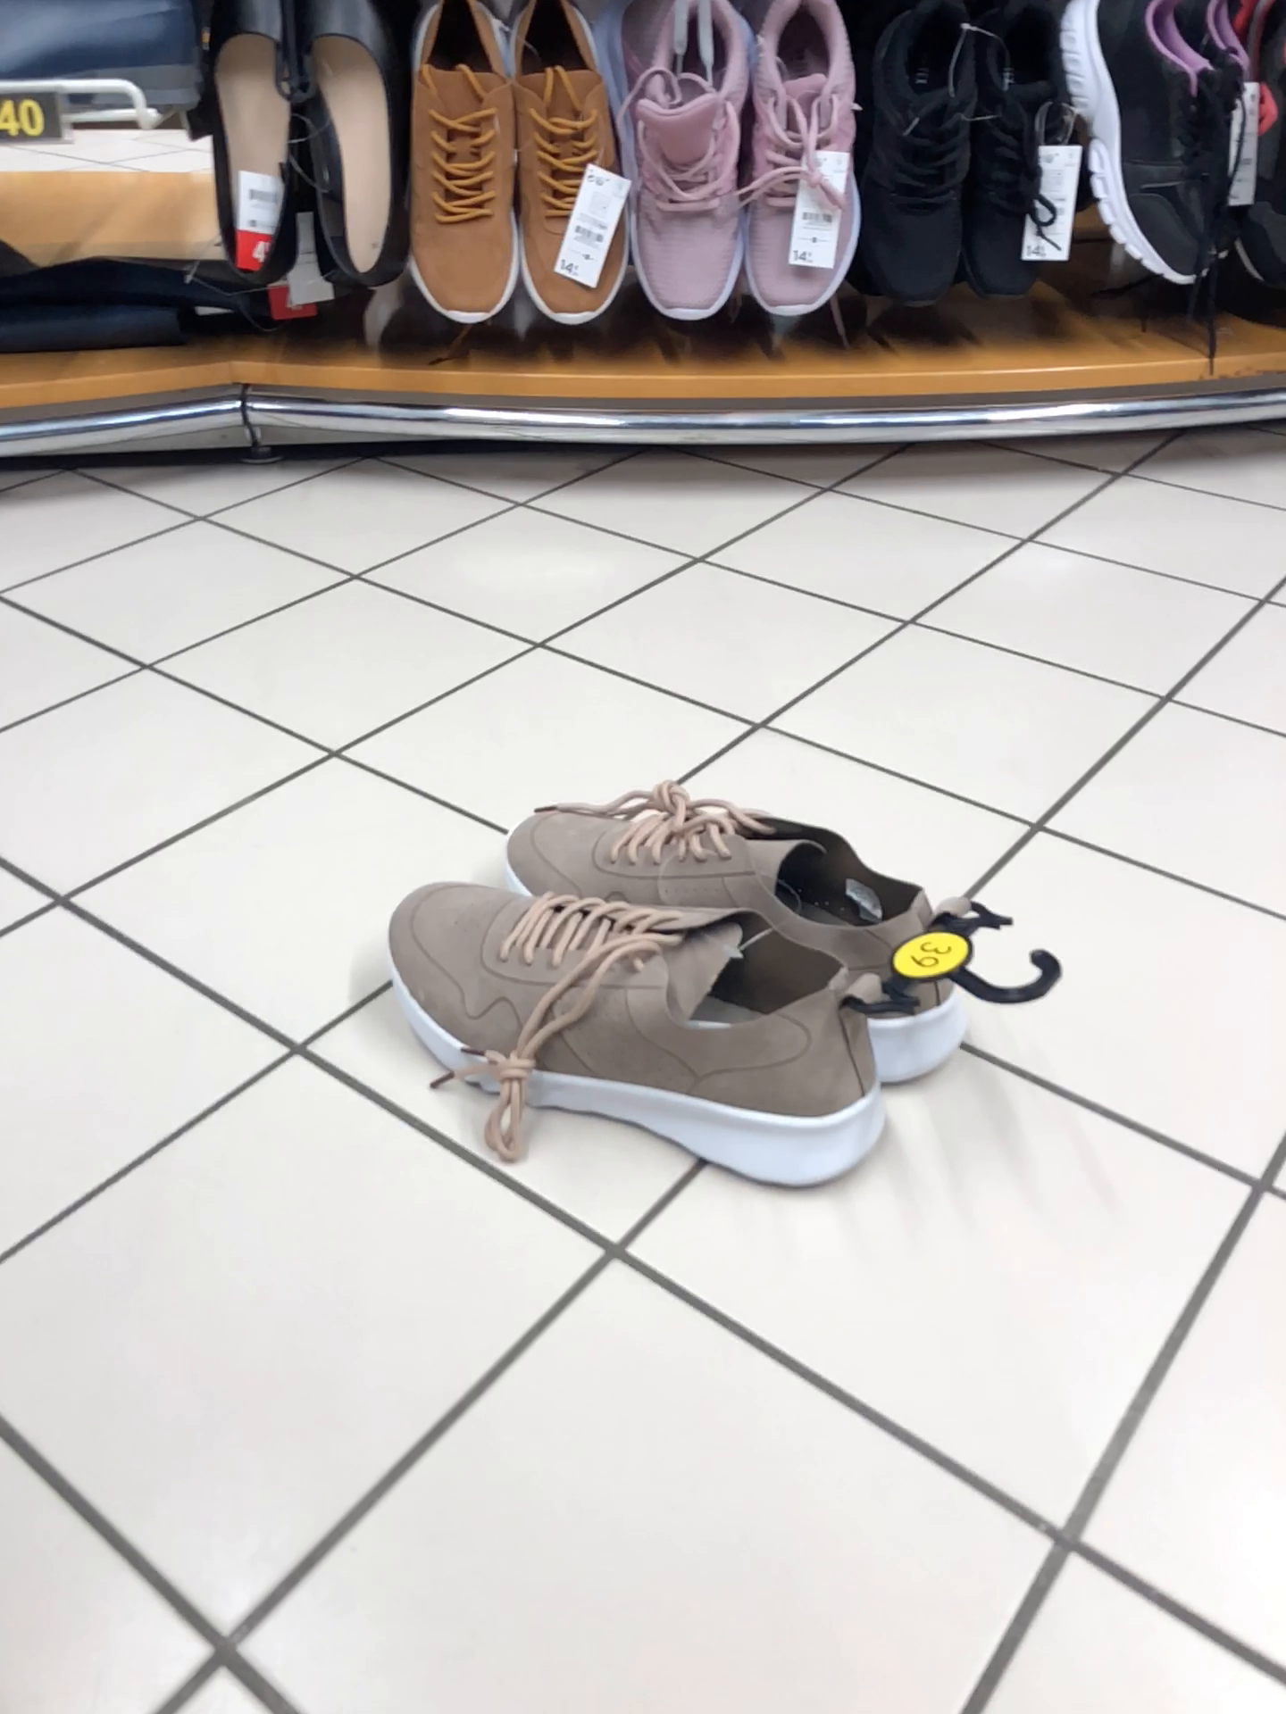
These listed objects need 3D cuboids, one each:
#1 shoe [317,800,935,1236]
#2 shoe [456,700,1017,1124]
[{"bbox_3d":[-0.010,0.064,0.644,0.257,0.080,0.101,17,38,23],"label":"shoe"},{"bbox_3d":[0.041,0.018,0.703,0.254,0.099,0.101,20,40,26],"label":"shoe"}]
